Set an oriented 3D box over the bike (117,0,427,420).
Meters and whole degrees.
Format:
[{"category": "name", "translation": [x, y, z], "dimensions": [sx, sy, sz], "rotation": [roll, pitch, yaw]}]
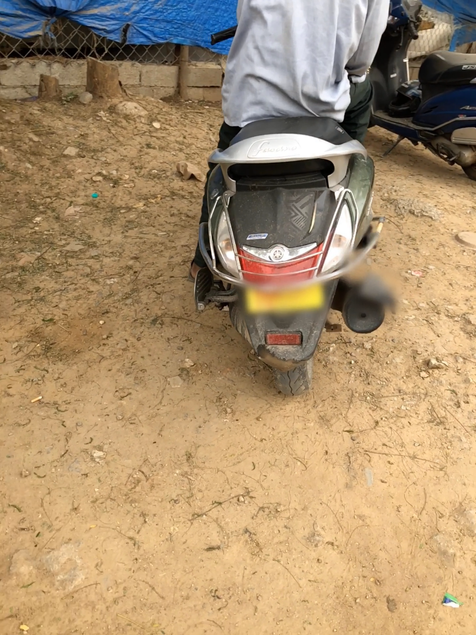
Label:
[{"category": "bike", "translation": [0.097, -0.720, 2.002], "dimensions": [0.622, 1.054, 1.733], "rotation": [8, 35, 3]}]
